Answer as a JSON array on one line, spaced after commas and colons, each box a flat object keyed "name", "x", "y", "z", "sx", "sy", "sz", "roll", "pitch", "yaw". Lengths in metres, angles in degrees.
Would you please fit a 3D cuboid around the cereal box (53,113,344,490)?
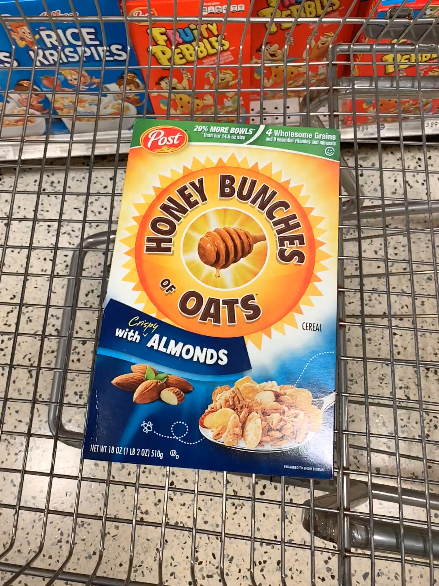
[{"name": "cereal box", "x": -0.005, "y": -0.004, "z": 0.395, "sx": 0.210, "sy": 0.060, "sz": 0.301, "roll": 4, "pitch": 74, "yaw": 2}]
